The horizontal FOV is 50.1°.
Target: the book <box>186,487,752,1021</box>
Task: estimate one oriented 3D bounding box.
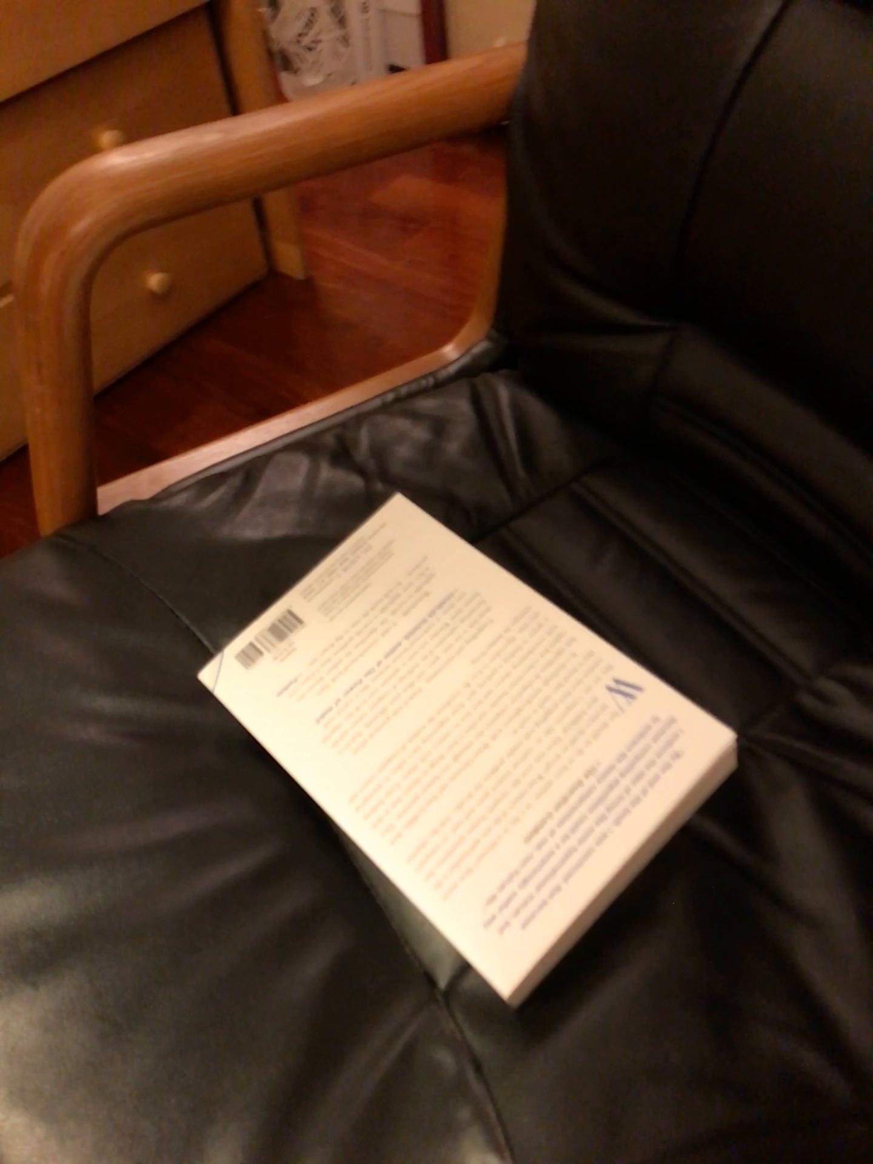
[{"bbox_3d":[0.006,0.066,0.481,0.160,0.020,0.251,-41,58,-18],"label":"book"}]
